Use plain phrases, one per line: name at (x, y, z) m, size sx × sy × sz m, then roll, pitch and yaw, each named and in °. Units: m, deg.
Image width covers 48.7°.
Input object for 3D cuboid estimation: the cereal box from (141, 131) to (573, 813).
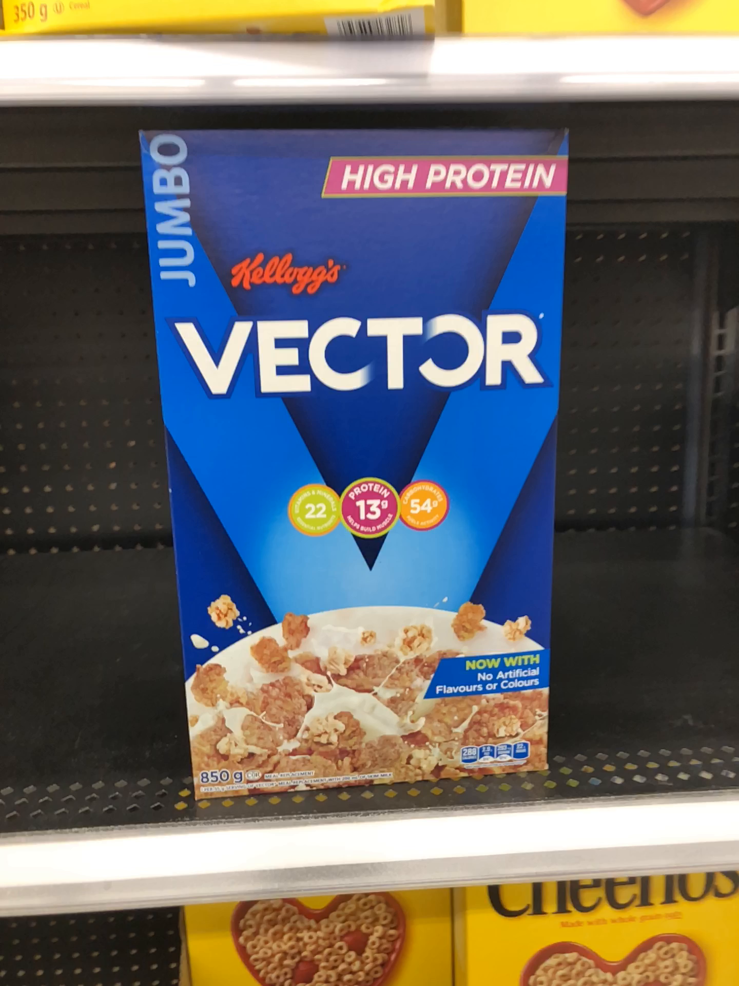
cereal box at (-0.004, -0.007, 0.457) m, size 0.200 × 0.348 × 0.080 m, roll -3°, pitch 14°, yaw -5°
